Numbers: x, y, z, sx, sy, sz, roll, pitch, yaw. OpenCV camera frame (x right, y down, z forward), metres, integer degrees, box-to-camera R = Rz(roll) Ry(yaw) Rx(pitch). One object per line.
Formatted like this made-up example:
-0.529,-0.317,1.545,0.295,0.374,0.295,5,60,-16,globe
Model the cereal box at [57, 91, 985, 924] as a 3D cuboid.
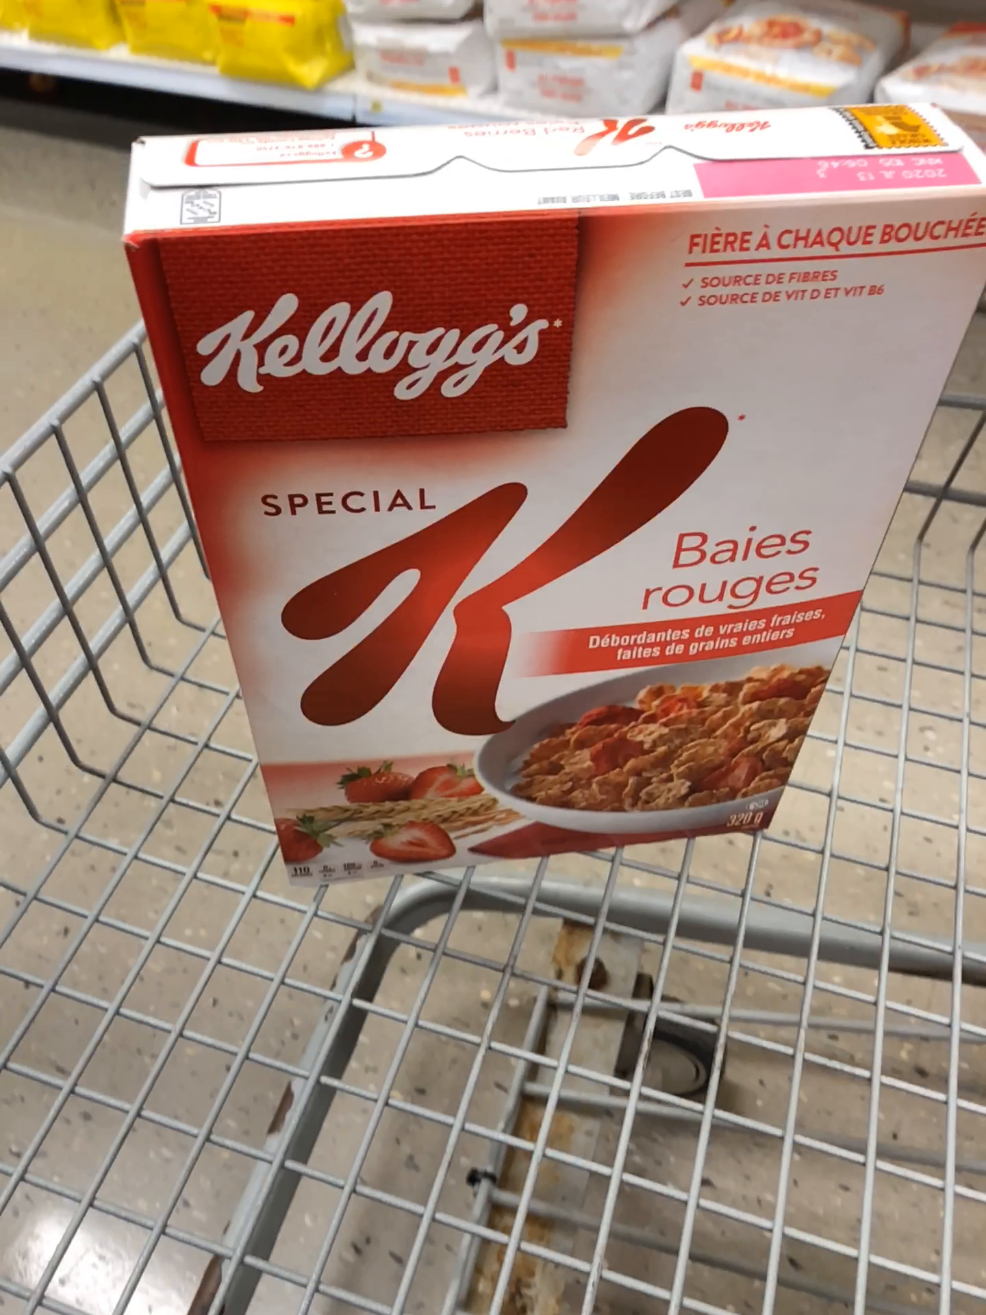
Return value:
0.014,-0.020,0.342,0.210,0.269,0.050,-5,47,-5,cereal box
